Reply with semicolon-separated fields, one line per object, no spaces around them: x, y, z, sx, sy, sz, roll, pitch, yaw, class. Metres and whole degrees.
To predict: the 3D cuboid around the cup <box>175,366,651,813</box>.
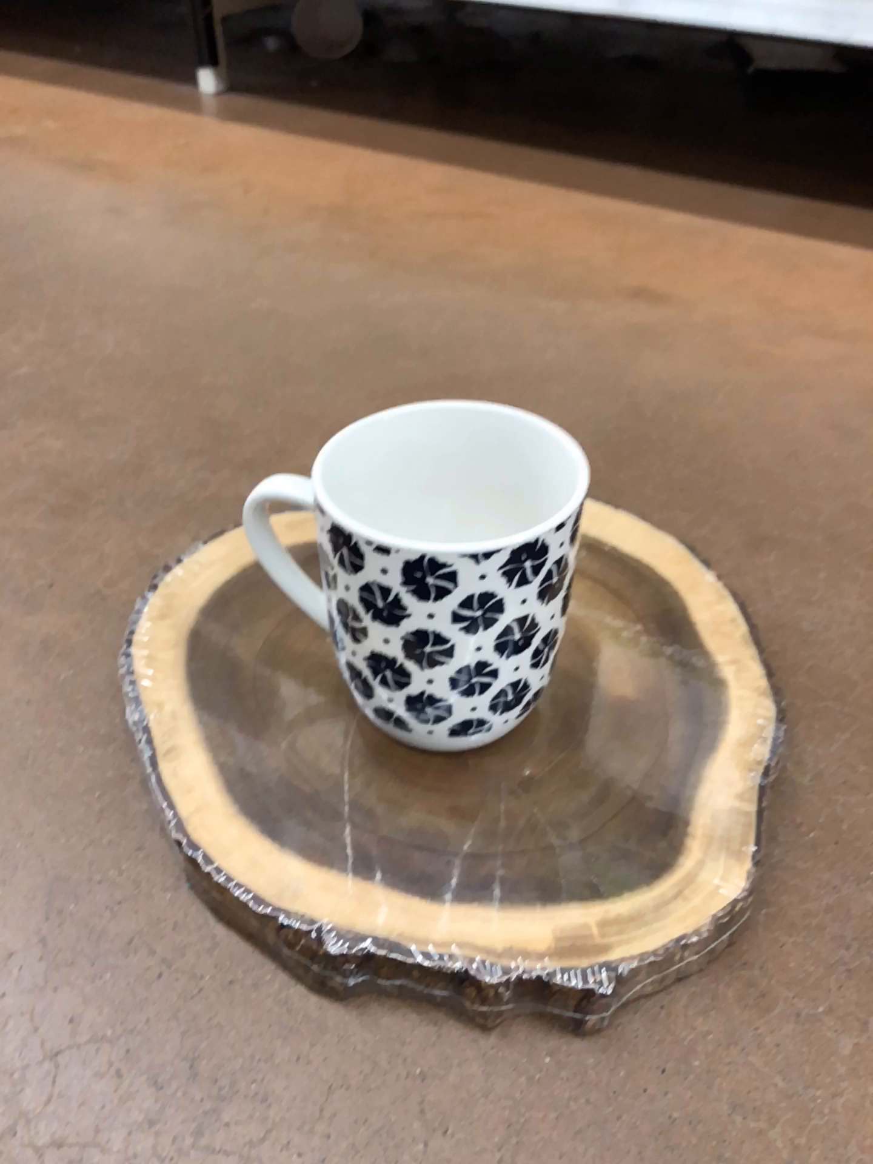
-0.003;-0.001;0.342;0.130;0.100;0.090;11;40;13;cup
